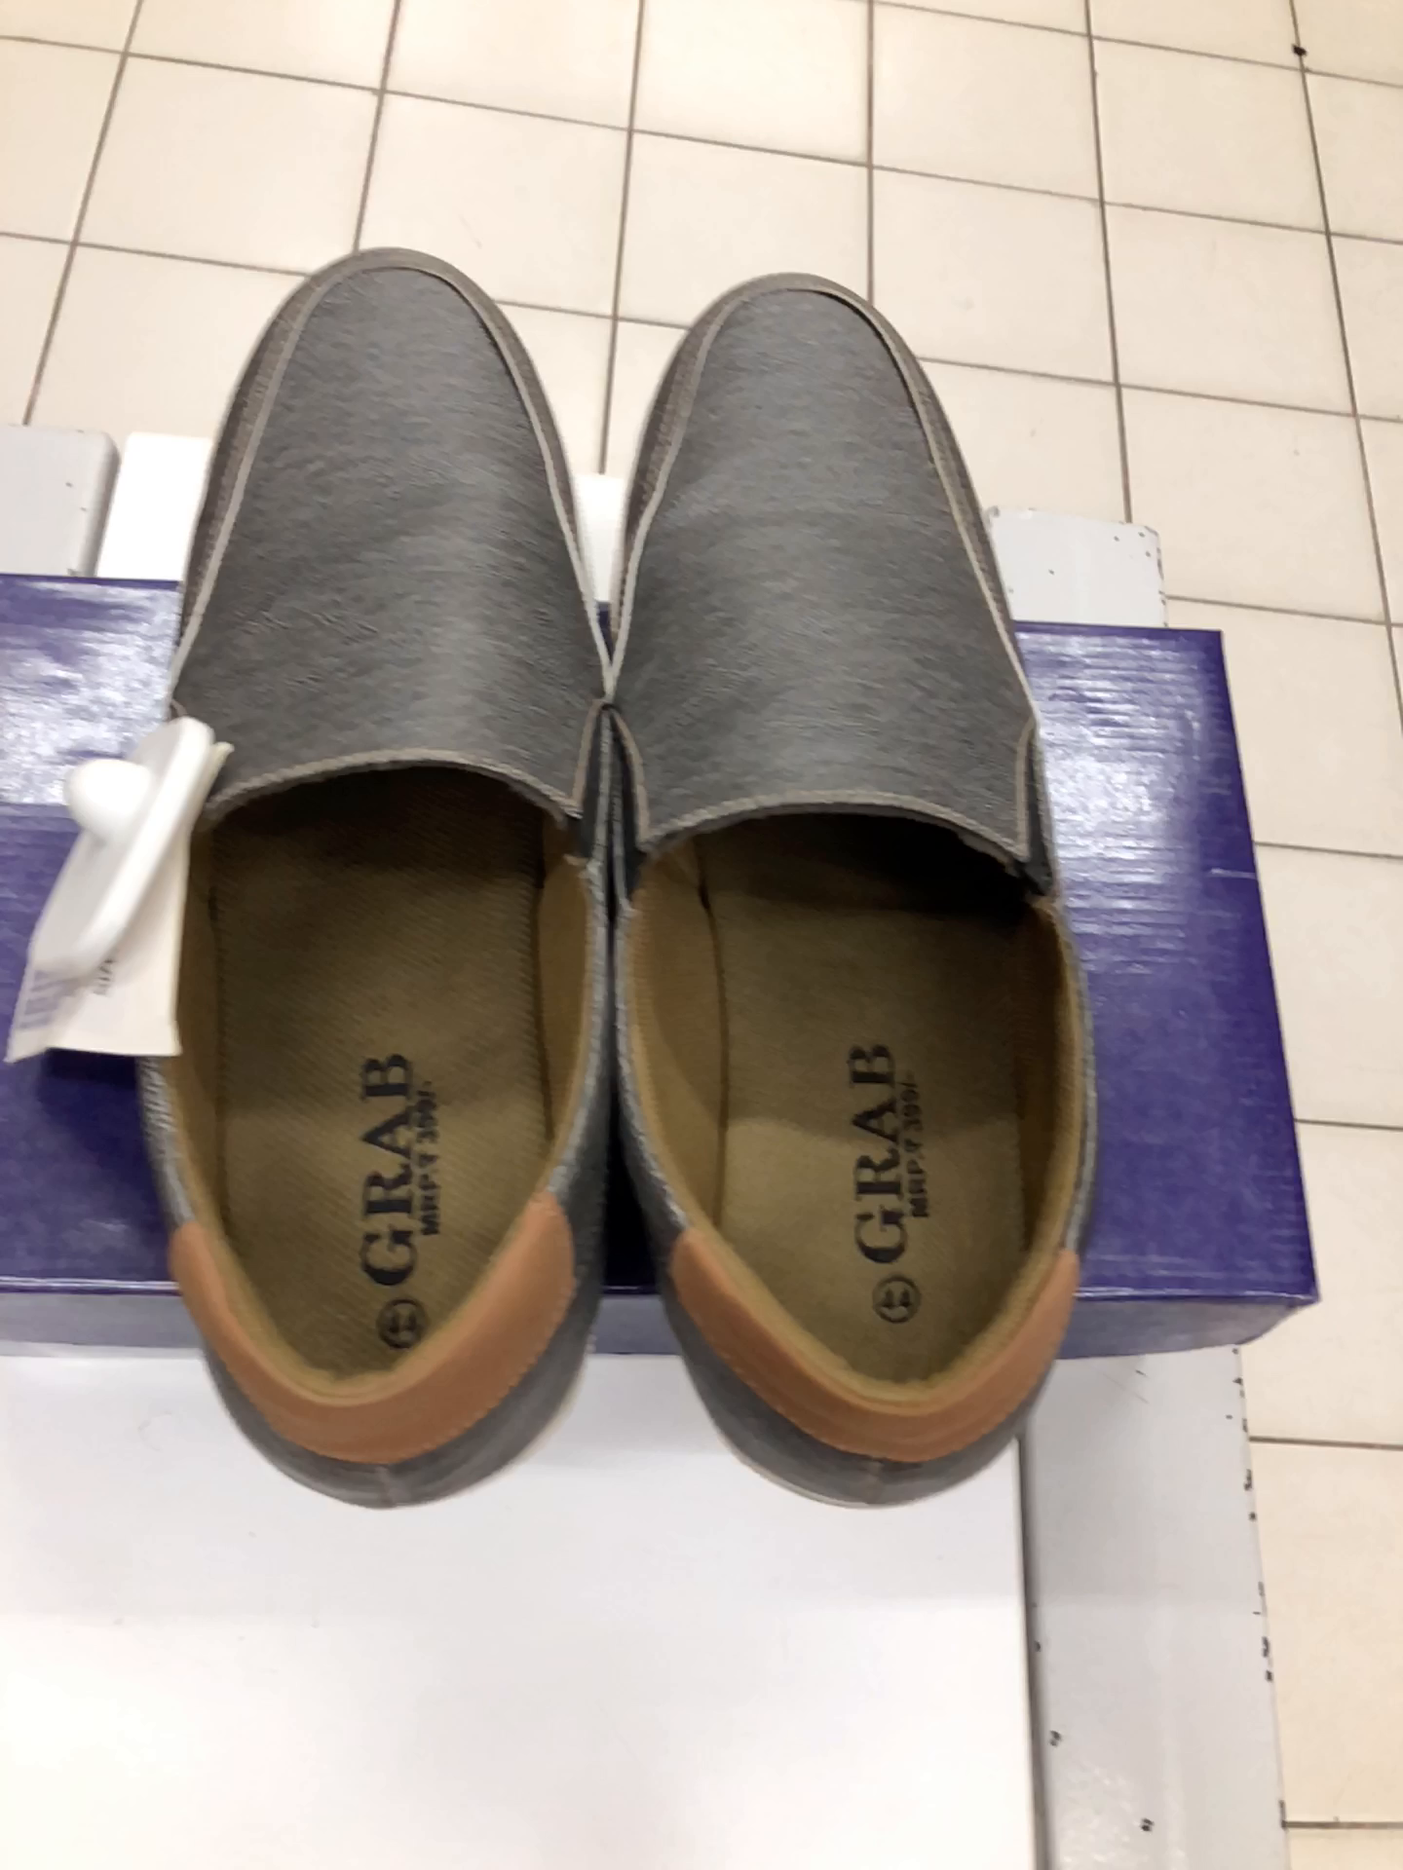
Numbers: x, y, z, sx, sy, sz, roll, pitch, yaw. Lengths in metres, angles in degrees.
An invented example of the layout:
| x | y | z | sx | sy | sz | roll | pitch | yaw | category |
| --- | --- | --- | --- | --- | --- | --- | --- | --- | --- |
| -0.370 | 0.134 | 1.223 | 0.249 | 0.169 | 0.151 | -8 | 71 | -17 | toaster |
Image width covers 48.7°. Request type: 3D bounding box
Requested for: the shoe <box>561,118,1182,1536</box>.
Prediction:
| x | y | z | sx | sy | sz | roll | pitch | yaw | category |
| --- | --- | --- | --- | --- | --- | --- | --- | --- | --- |
| 0.027 | -0.026 | 0.369 | 0.100 | 0.120 | 0.311 | 3 | 67 | -6 | shoe |

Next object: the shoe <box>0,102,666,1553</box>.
| x | y | z | sx | sy | sz | roll | pitch | yaw | category |
| --- | --- | --- | --- | --- | --- | --- | --- | --- | --- |
| -0.069 | -0.025 | 0.313 | 0.100 | 0.100 | 0.271 | -1 | 67 | -7 | shoe |
